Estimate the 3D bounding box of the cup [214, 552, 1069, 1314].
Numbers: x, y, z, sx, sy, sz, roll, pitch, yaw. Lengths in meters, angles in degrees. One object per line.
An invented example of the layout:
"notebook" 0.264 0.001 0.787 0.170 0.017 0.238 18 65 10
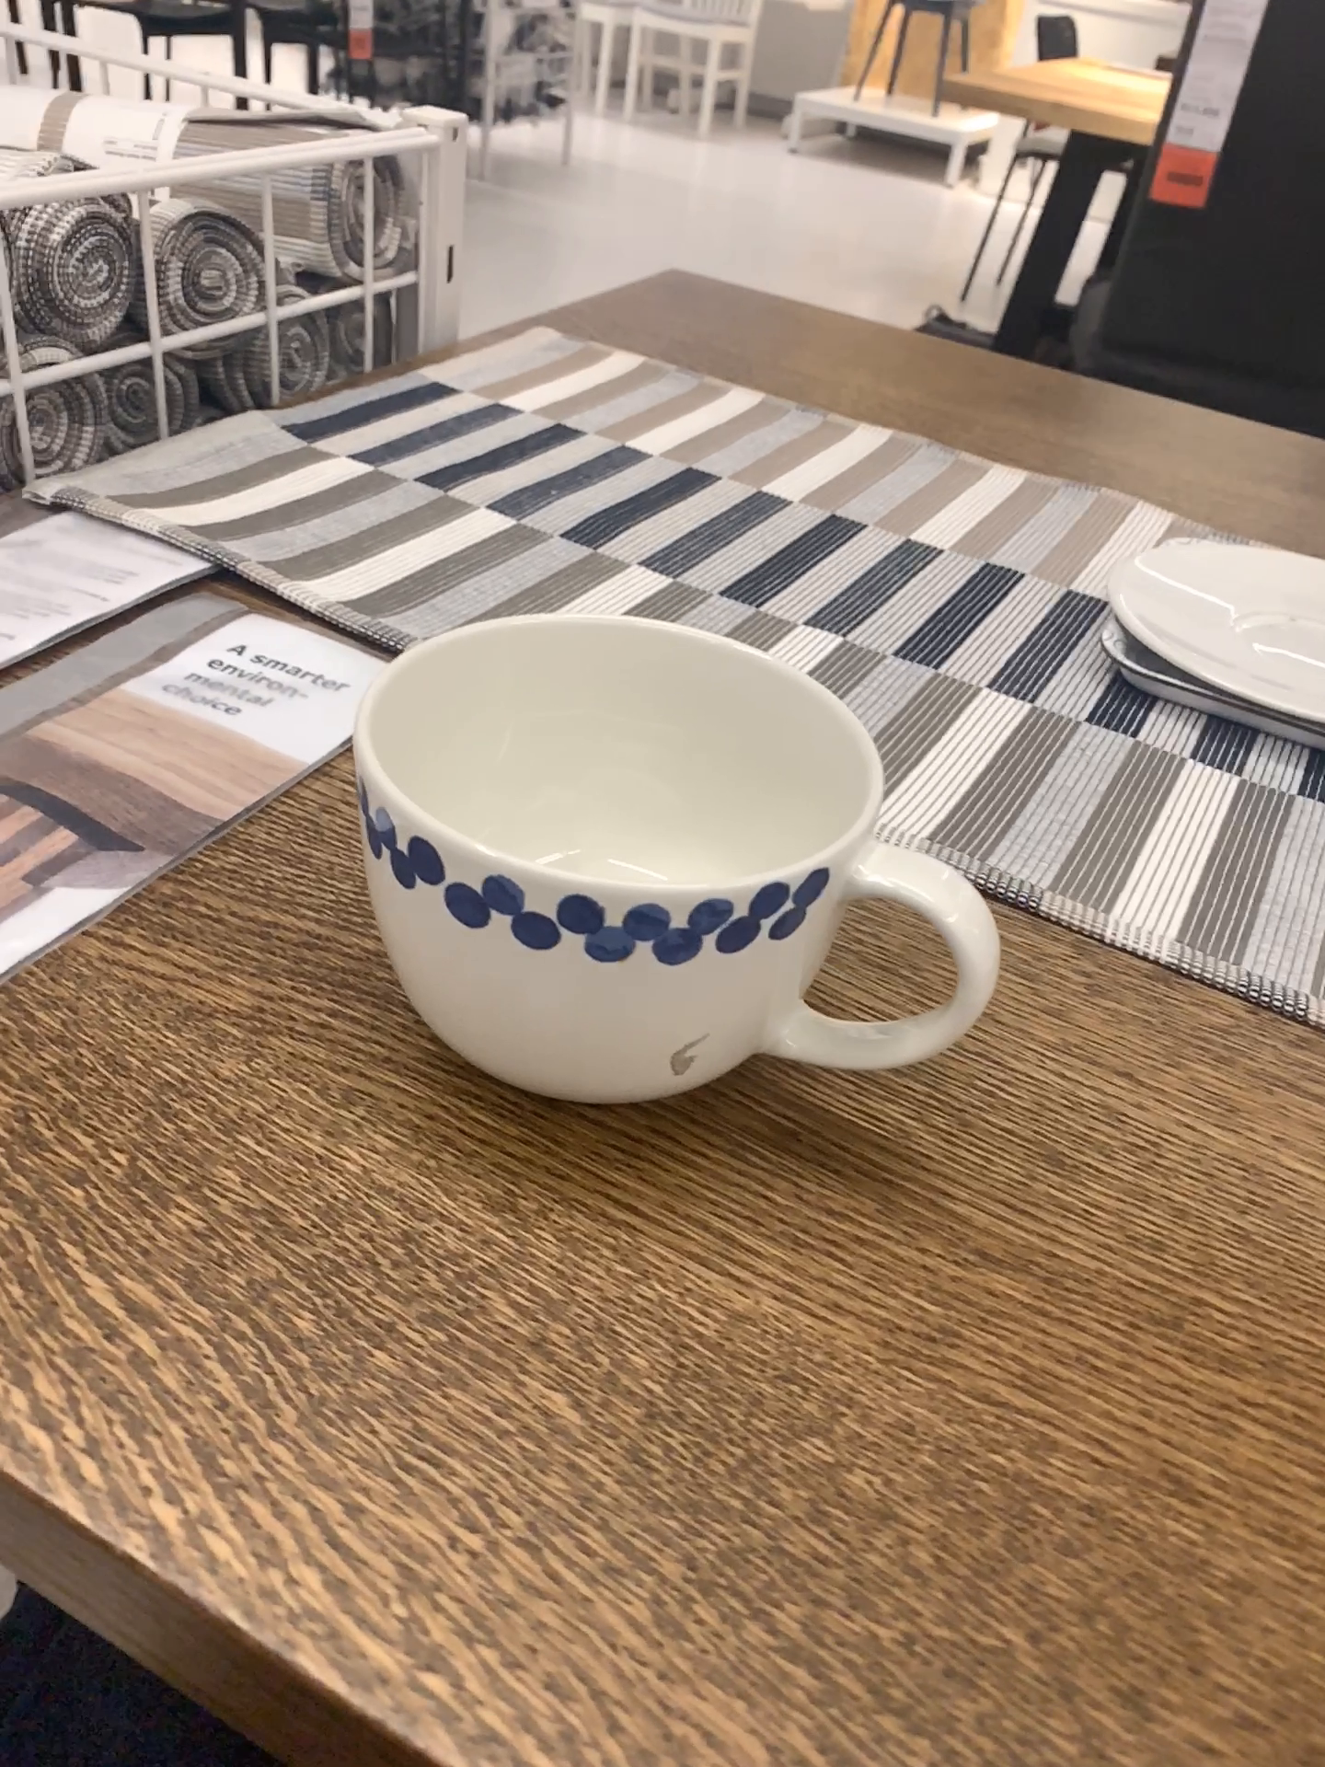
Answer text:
"cup" -0.003 0.000 0.277 0.130 0.070 0.100 23 38 18
